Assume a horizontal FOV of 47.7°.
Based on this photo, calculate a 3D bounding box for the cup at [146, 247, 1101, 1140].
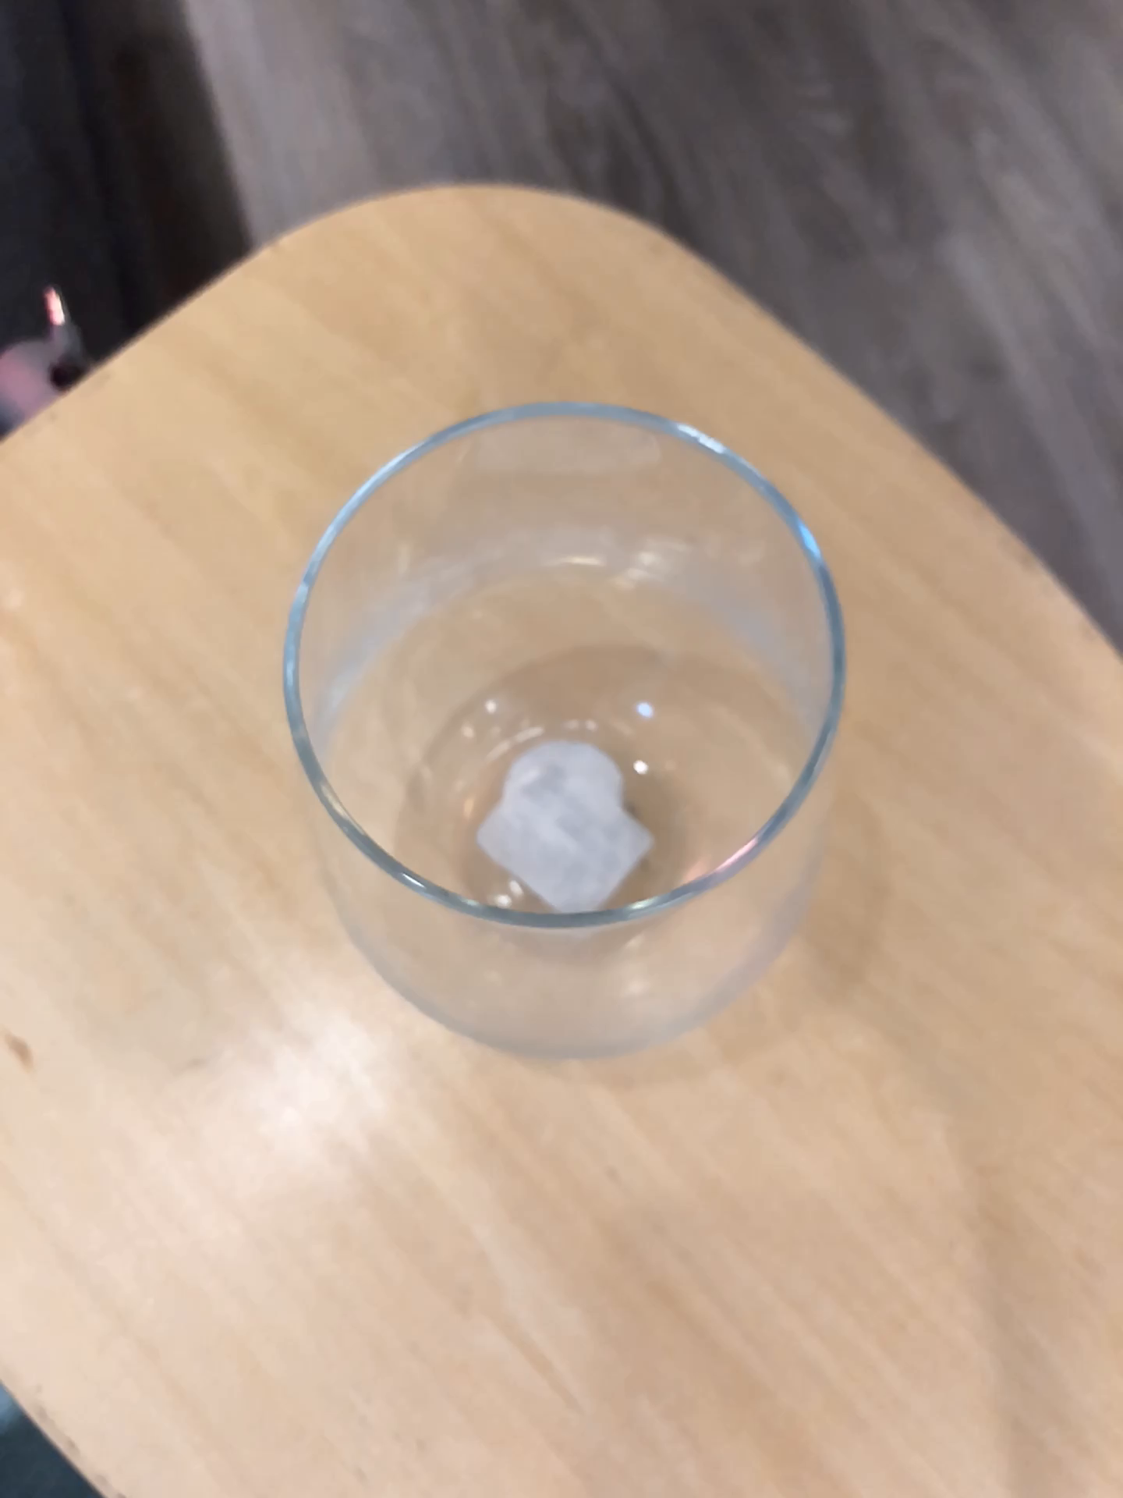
[{"bbox_3d":[0.004,0.002,0.201,0.090,0.100,0.090,0,73,-1],"label":"cup"}]
